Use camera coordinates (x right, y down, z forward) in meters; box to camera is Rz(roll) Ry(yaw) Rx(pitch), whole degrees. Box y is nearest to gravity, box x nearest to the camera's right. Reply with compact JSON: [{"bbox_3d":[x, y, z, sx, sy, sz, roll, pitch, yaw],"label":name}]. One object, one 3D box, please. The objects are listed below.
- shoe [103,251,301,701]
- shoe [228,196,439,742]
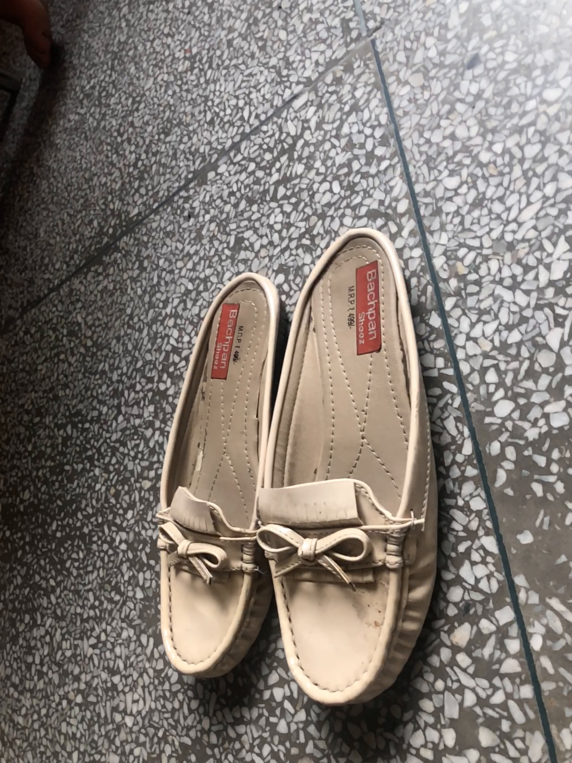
[{"bbox_3d":[-0.047,0.046,0.358,0.090,0.040,0.220,-4,77,43],"label":"shoe"},{"bbox_3d":[0.021,0.033,0.287,0.080,0.040,0.210,-9,74,42],"label":"shoe"}]
